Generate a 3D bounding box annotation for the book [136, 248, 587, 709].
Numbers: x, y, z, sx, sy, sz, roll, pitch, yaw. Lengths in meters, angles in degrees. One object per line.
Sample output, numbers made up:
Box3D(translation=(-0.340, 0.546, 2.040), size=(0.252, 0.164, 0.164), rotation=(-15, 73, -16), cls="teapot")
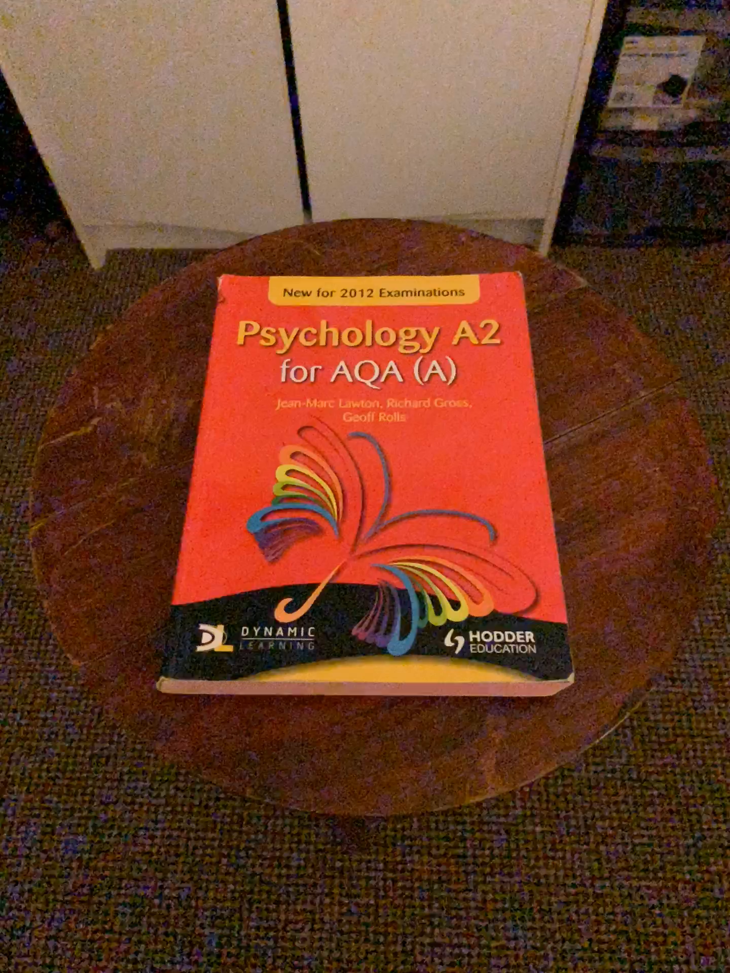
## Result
Box3D(translation=(0.000, -0.023, 0.440), size=(0.210, 0.040, 0.292), rotation=(0, 59, 2), cls="book")
